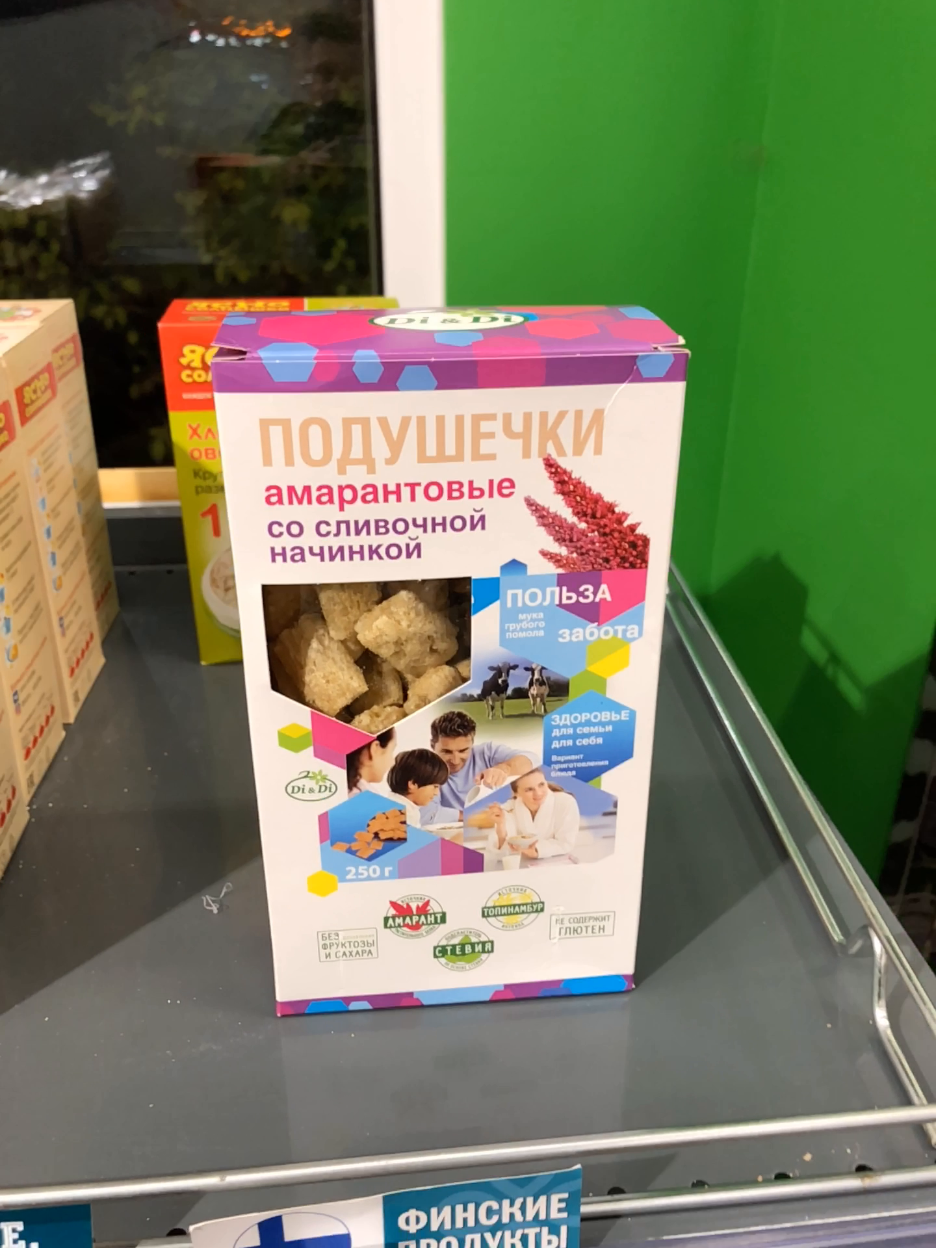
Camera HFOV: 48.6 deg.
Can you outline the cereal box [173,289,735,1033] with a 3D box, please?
[{"bbox_3d":[-0.007,0.015,0.343,0.140,0.229,0.080,-2,26,-5],"label":"cereal box"}]
